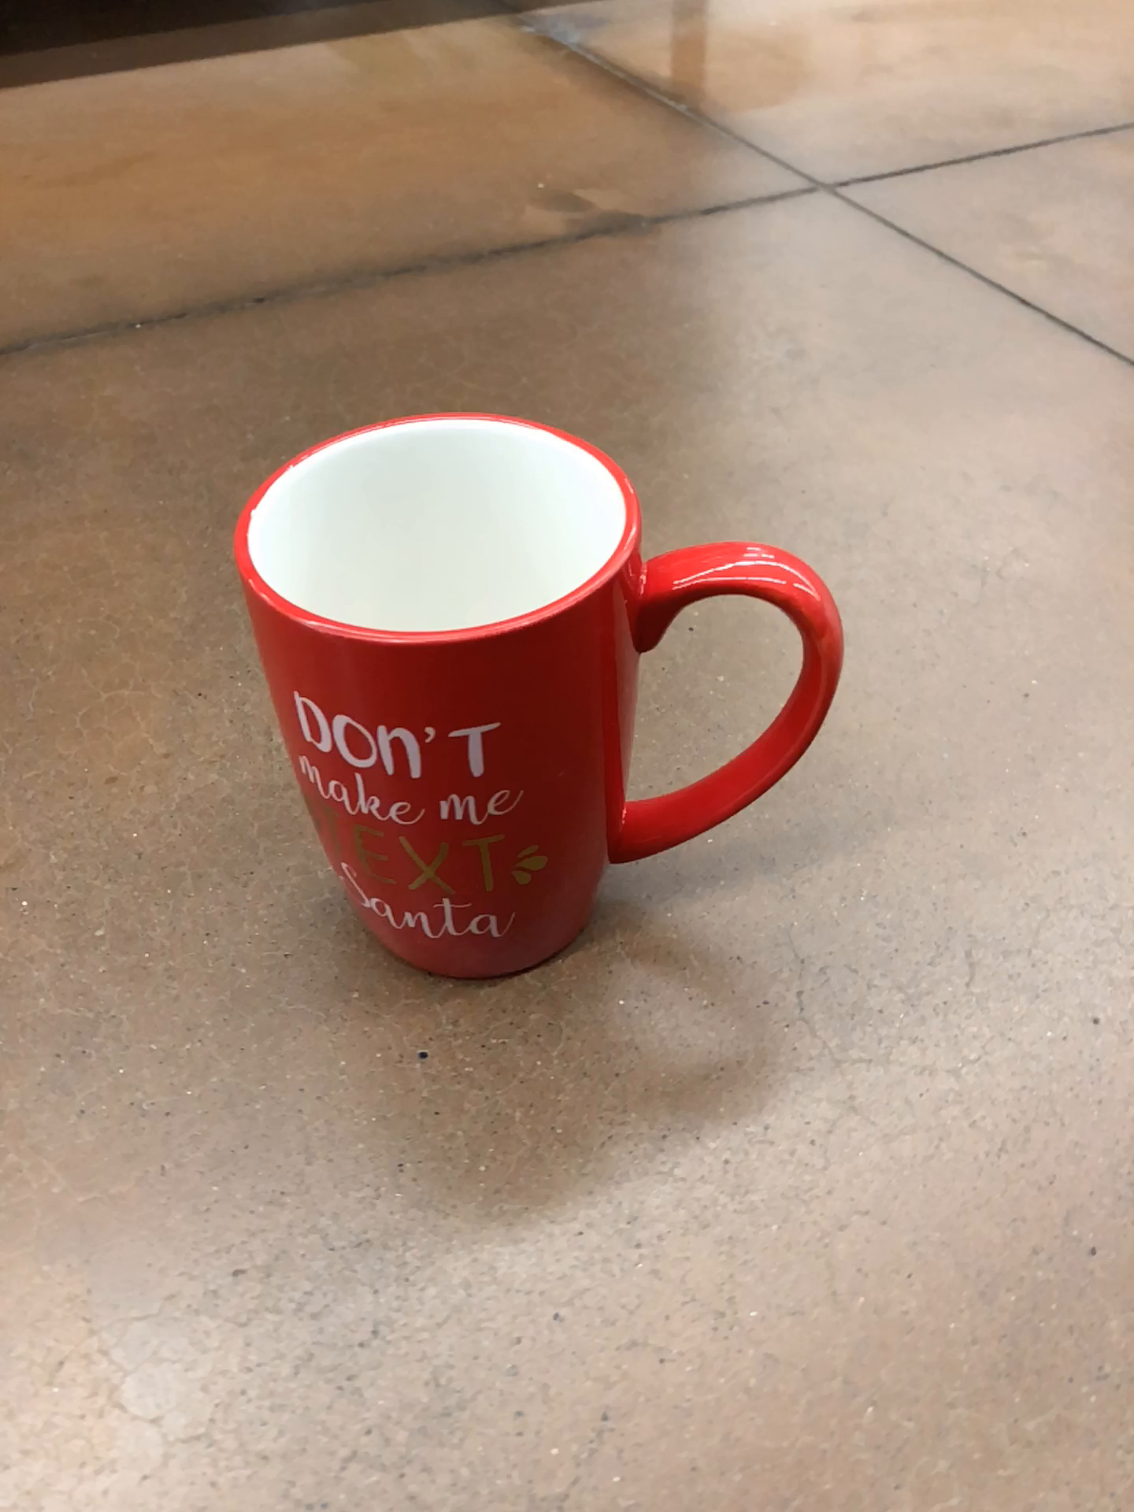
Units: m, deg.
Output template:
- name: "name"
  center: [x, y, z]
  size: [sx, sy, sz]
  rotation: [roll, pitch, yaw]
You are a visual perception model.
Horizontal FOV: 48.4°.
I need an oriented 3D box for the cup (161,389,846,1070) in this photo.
- name: "cup"
  center: [-0.006, -0.006, 0.313]
  size: [0.130, 0.130, 0.090]
  rotation: [6, 44, 8]
